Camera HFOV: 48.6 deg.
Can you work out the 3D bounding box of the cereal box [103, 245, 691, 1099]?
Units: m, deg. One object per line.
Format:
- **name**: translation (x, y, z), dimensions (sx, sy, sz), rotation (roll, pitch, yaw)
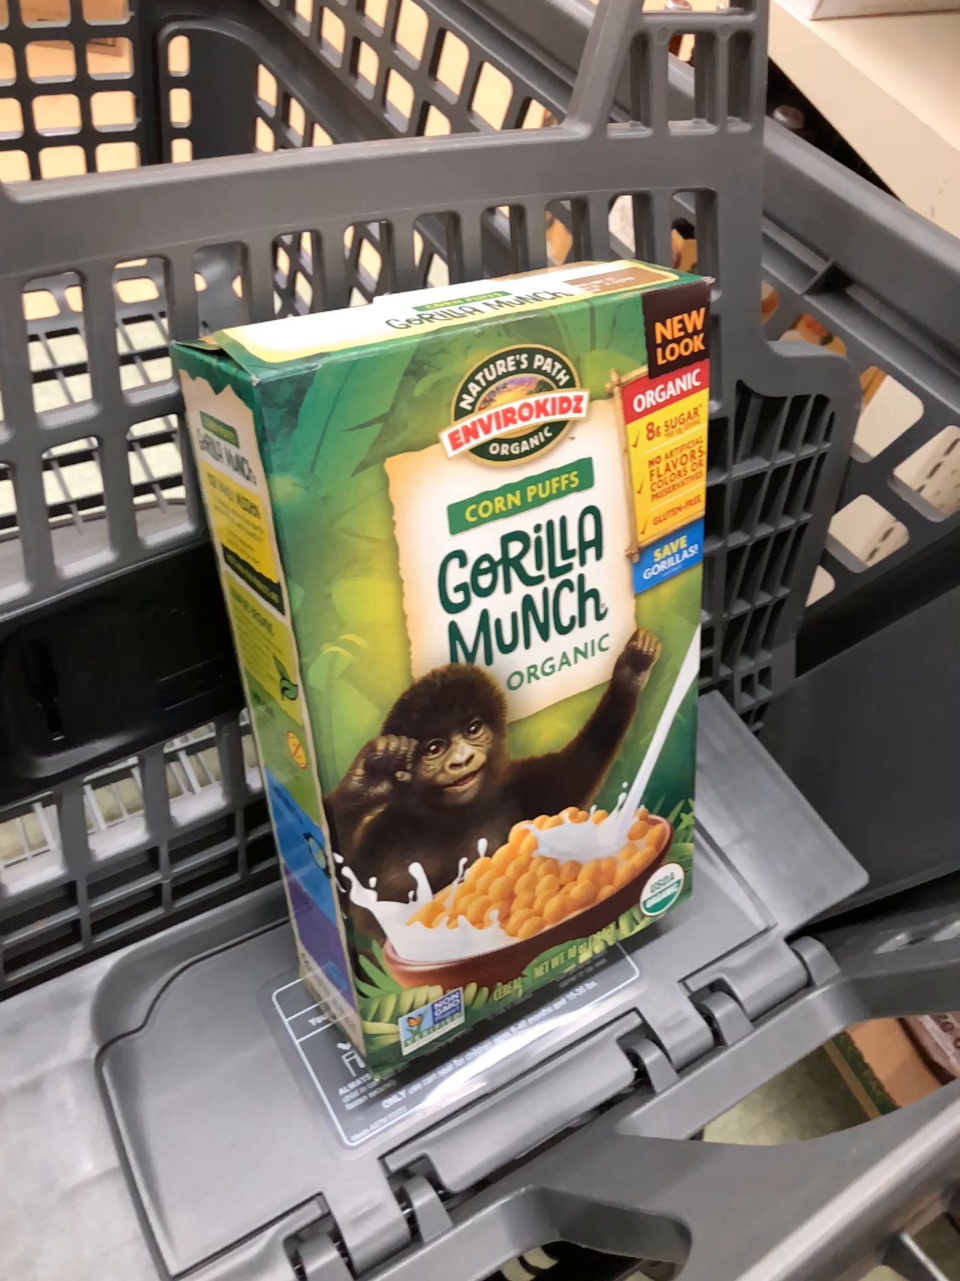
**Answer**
- **cereal box**: translation (-0.014, 0.012, 0.378), dimensions (0.160, 0.260, 0.070), rotation (-21, 34, -27)
